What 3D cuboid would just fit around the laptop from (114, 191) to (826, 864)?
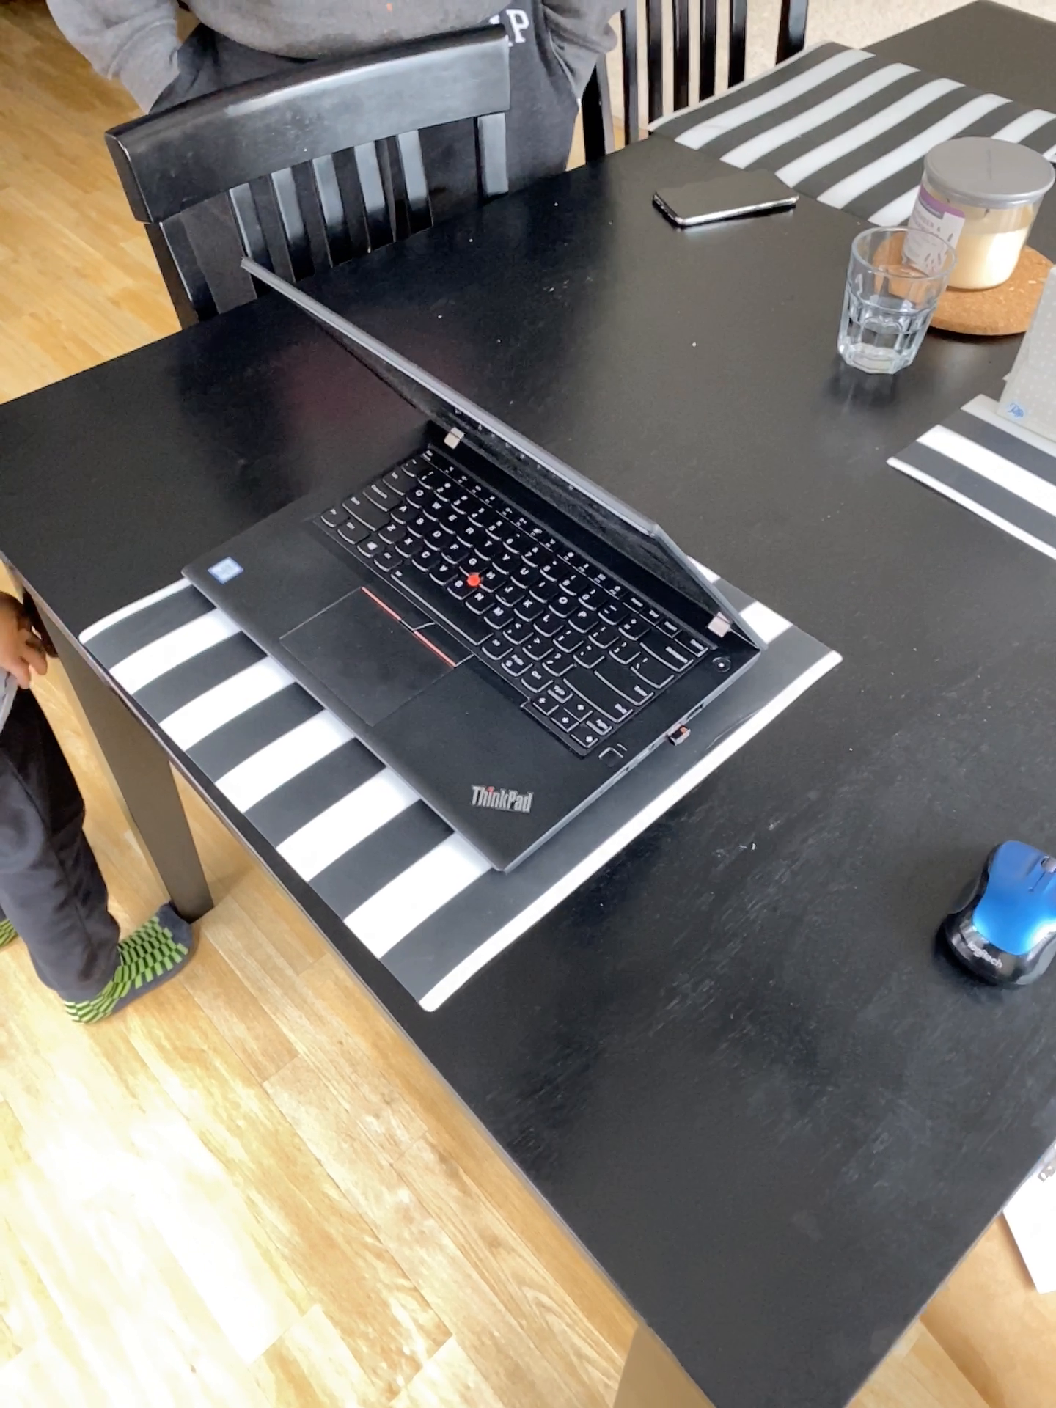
[{"bbox_3d":[-0.040,-0.121,0.633,0.220,0.175,0.321,-36,60,-26],"label":"laptop"}]
